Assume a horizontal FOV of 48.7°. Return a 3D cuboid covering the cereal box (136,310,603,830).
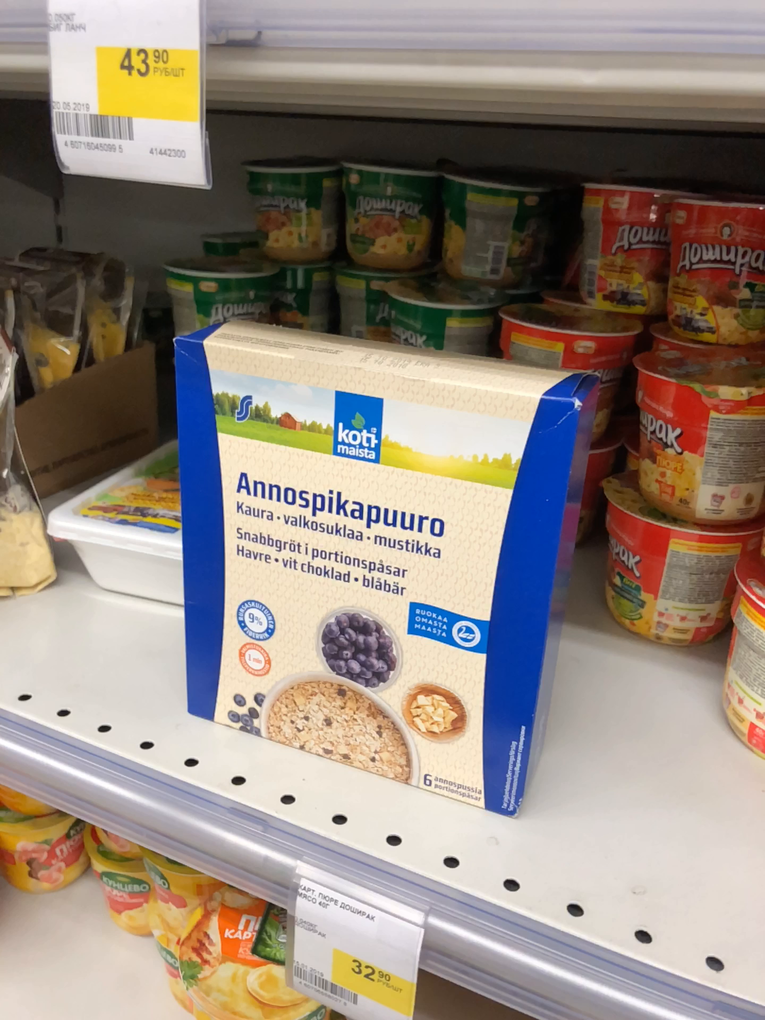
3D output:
[{"bbox_3d":[-0.011,0.020,0.353,0.170,0.179,0.050,12,25,20],"label":"cereal box"}]
